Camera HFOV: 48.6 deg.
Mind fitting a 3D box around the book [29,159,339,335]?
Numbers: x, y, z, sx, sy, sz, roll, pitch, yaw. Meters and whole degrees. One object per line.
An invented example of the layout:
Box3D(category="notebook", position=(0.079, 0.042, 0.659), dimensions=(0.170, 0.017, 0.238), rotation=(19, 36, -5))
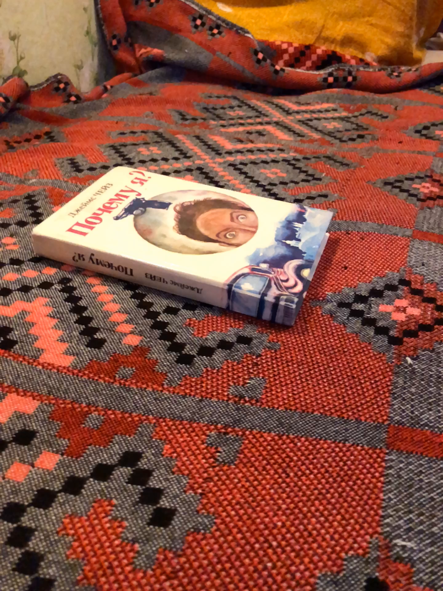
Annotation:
Box3D(category="book", position=(-0.022, -0.050, 0.390), dimensions=(0.204, 0.029, 0.134), rotation=(15, 40, 13))
